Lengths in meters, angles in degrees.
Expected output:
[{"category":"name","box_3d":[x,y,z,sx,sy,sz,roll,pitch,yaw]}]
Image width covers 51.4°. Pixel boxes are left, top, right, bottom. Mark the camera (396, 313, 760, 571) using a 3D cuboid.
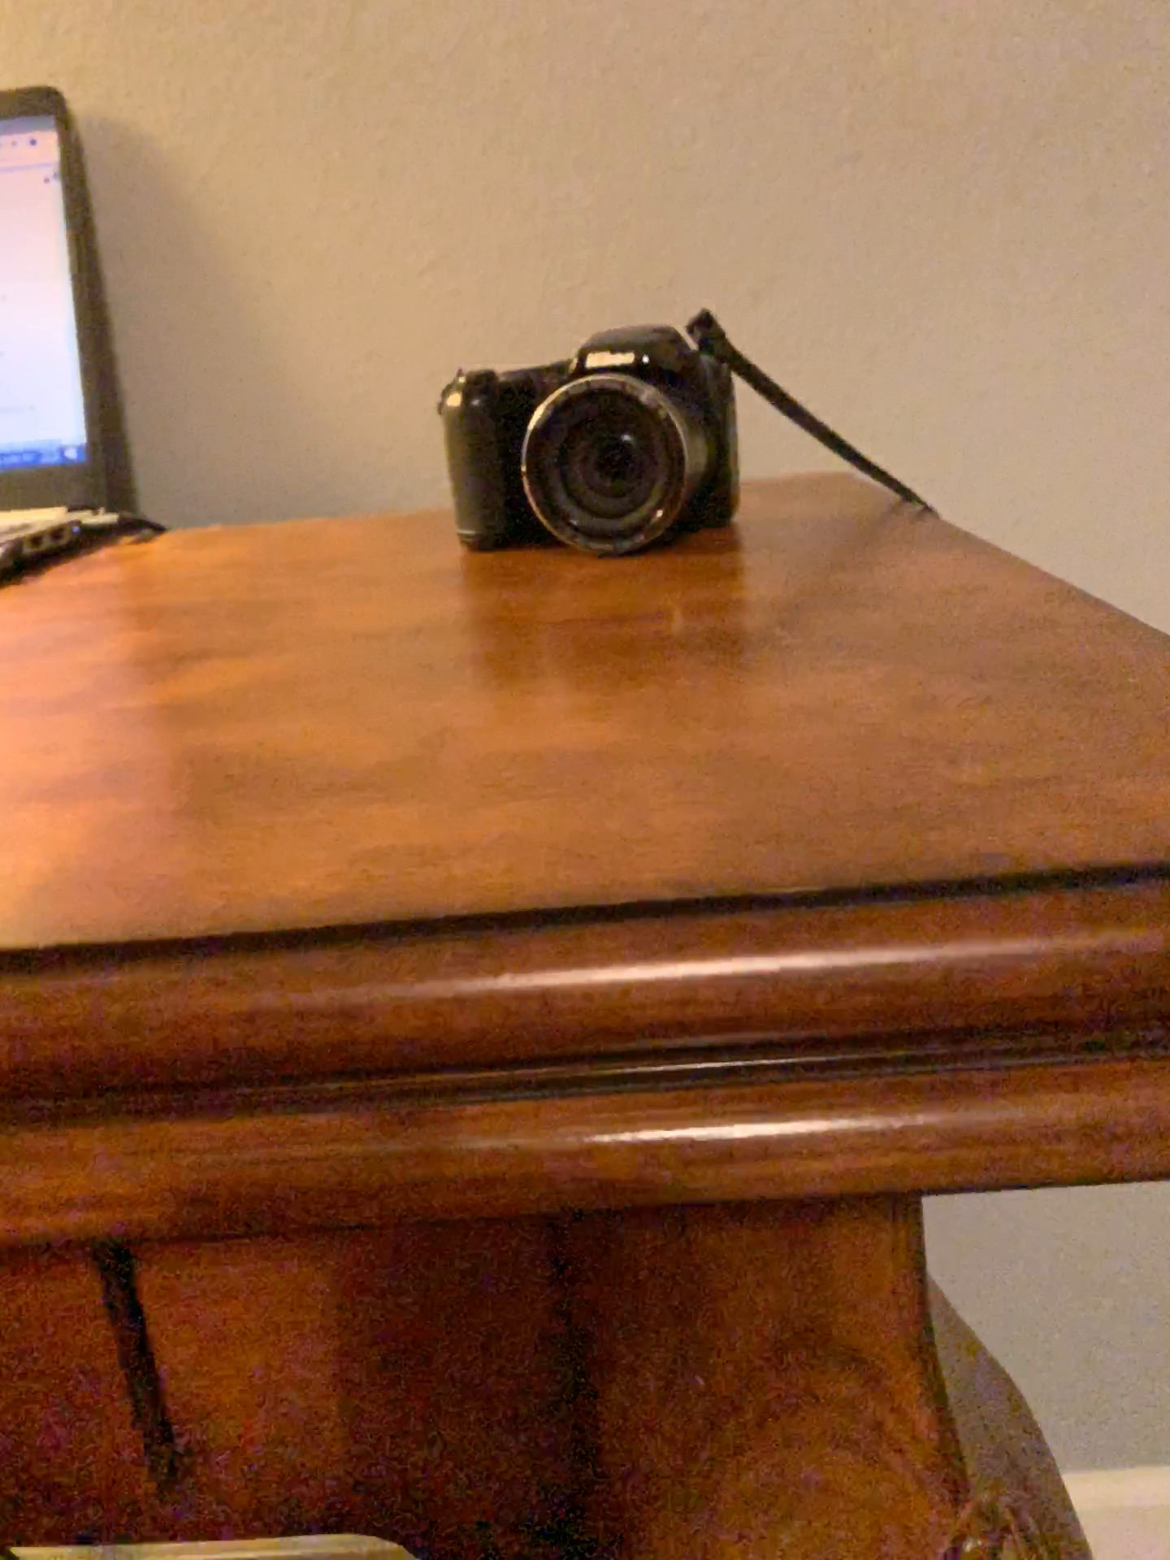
[{"category":"camera","box_3d":[0.005,-0.139,0.494,0.110,0.081,0.123,0,19,17]}]
